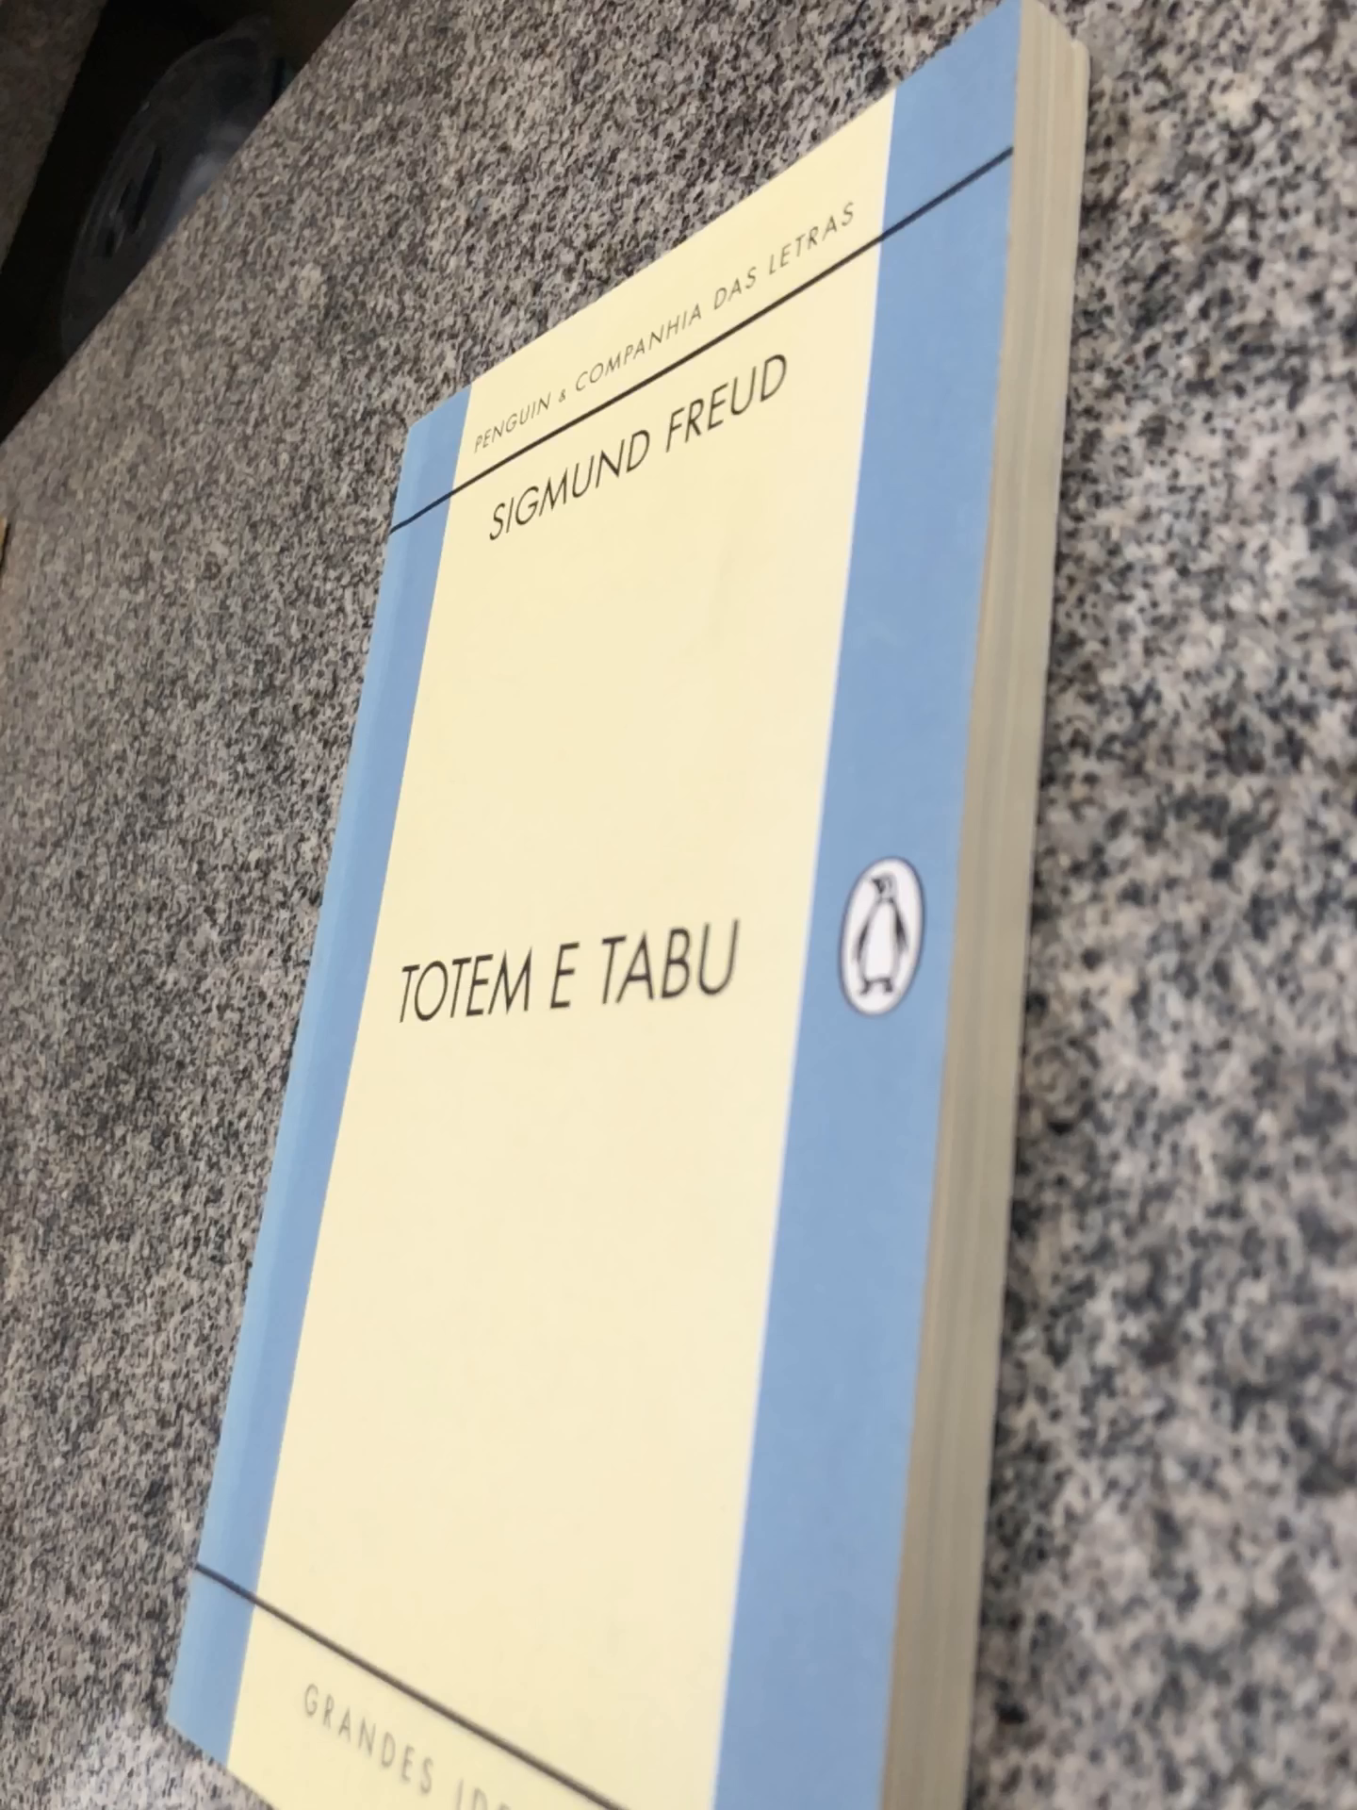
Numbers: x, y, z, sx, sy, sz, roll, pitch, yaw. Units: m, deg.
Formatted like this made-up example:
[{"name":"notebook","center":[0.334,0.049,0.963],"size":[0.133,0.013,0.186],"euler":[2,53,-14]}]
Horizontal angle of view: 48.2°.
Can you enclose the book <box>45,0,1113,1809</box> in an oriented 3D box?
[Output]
[{"name":"book","center":[-0.019,0.012,0.167],"size":[0.131,0.015,0.191],"euler":[-9,68,50]}]
